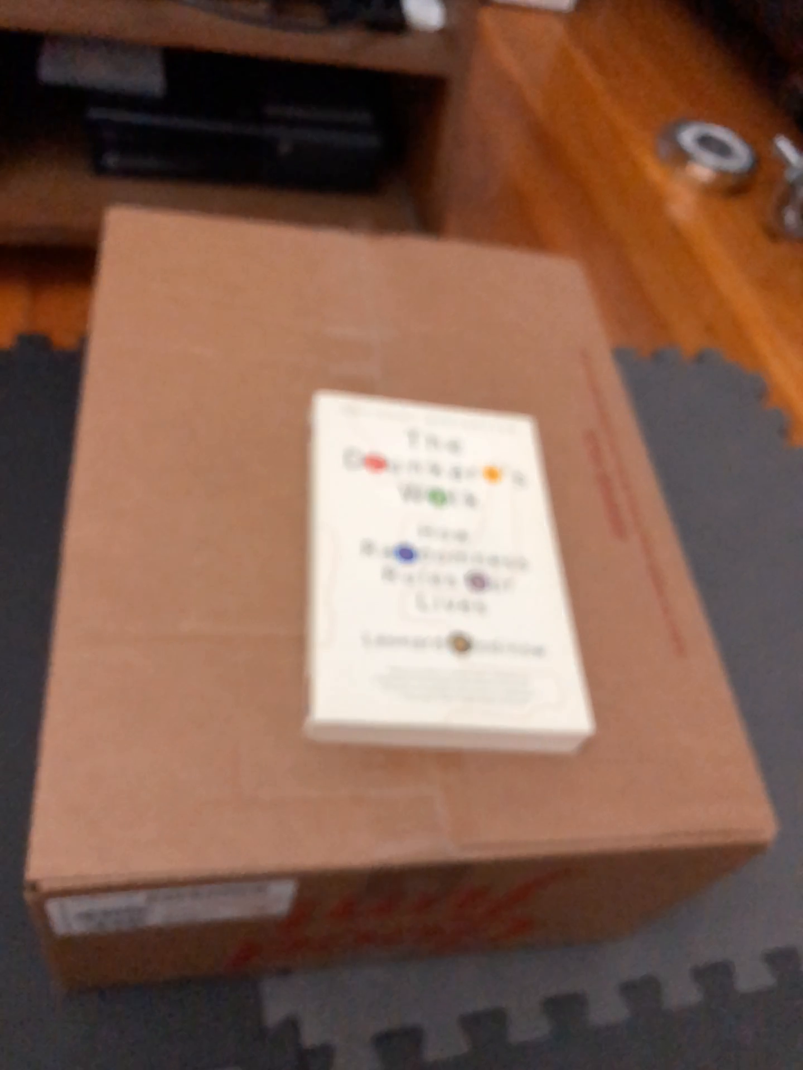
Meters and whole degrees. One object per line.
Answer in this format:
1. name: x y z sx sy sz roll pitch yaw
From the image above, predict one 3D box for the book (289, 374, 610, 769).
1. book: 0.015 0.012 0.477 0.140 0.040 0.211 5 52 -12
